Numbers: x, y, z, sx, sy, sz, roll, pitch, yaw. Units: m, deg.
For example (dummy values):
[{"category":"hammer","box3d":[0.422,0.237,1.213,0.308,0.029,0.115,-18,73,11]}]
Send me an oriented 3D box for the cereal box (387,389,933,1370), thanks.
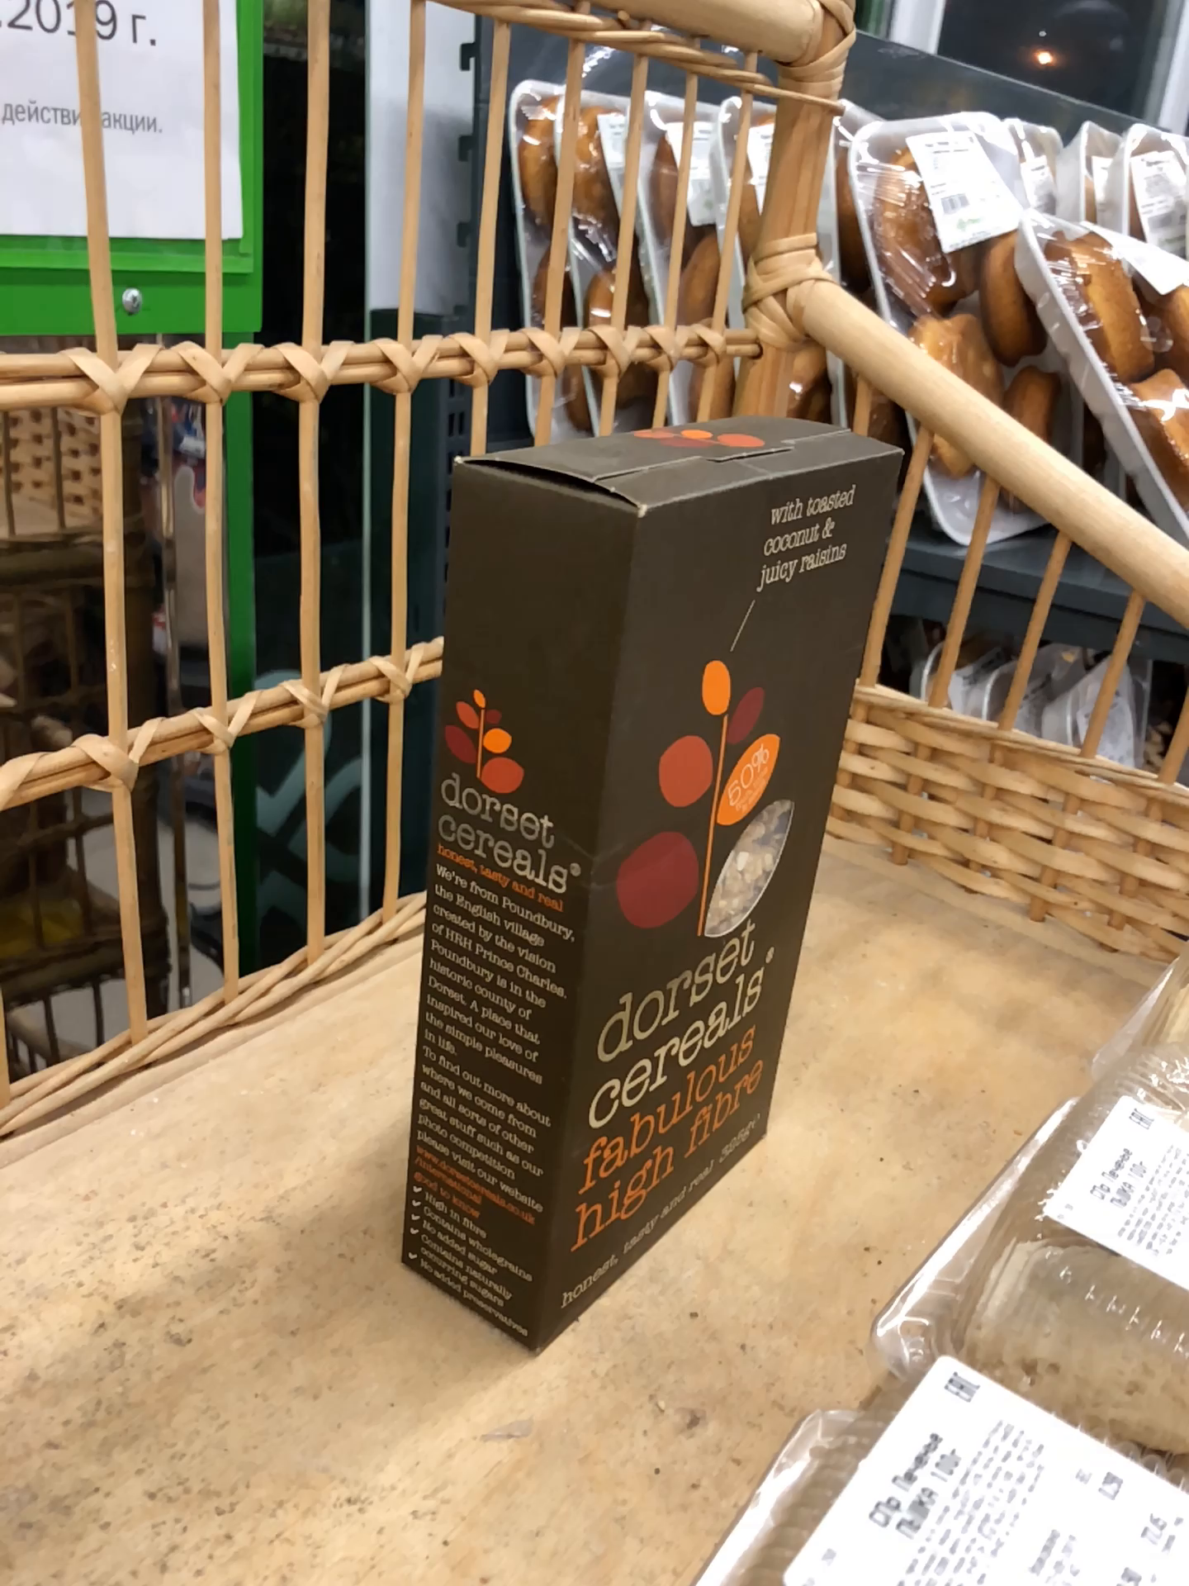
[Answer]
[{"category":"cereal box","box3d":[0.015,0.014,0.329,0.050,0.209,0.130,21,28,31]}]
